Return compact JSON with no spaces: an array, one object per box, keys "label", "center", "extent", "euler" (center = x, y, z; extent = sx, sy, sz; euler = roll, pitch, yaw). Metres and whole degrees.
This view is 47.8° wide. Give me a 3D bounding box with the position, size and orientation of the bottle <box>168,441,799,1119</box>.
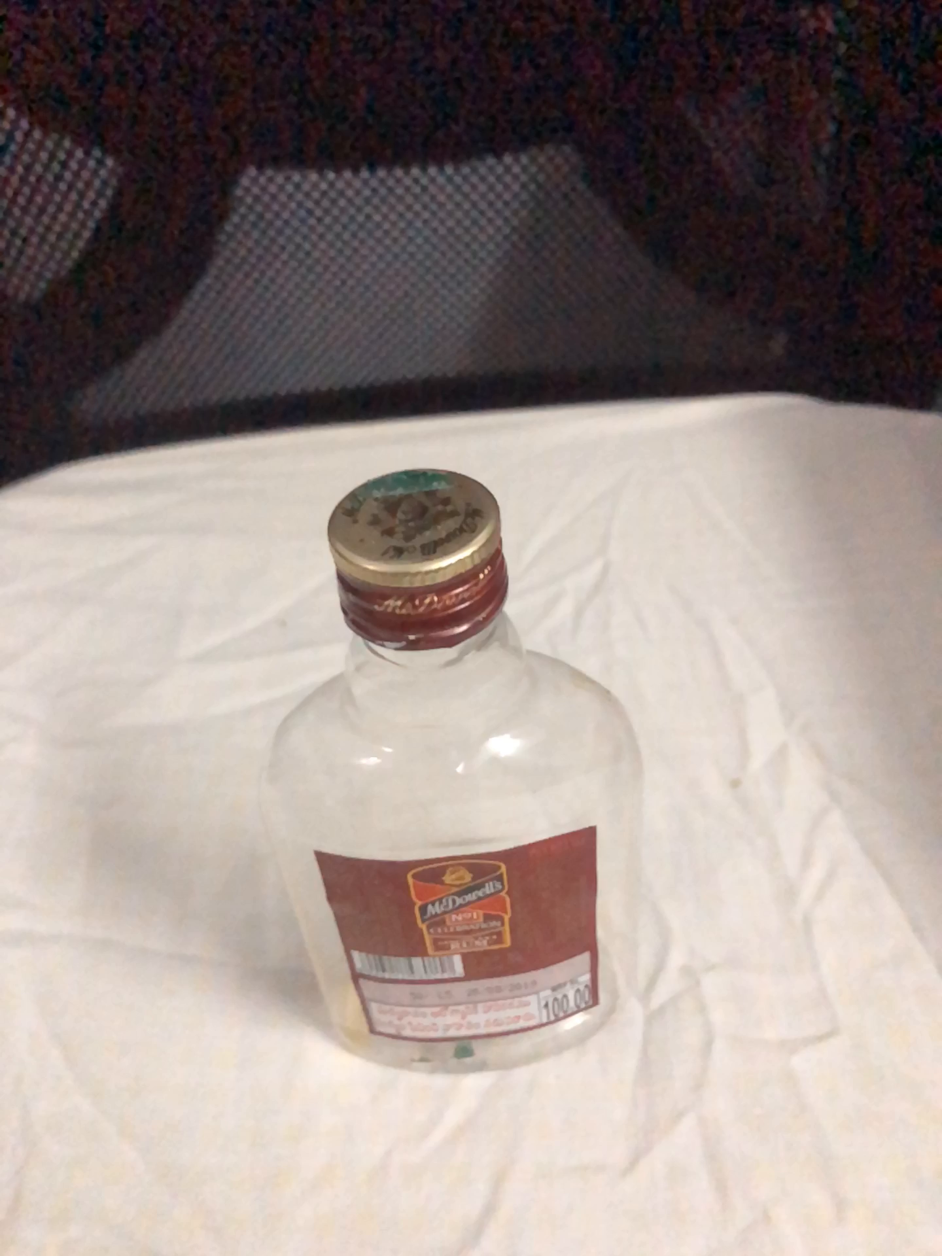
[{"label":"bottle","center":[0.003,0.039,0.197],"extent":[0.080,0.139,0.040],"euler":[-5,44,-2]}]
